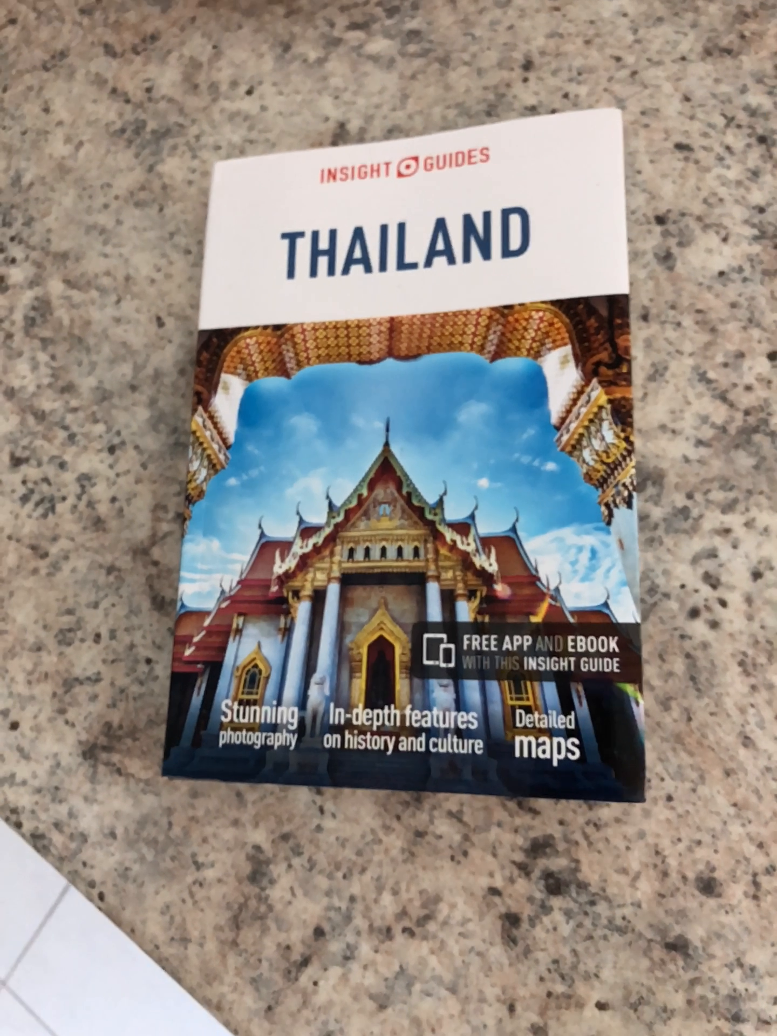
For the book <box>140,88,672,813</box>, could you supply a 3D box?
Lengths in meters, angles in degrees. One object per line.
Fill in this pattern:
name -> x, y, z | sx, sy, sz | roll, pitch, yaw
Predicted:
book -> 0.008, -0.028, 0.307 | 0.164, 0.030, 0.240 | -2, 74, 14
